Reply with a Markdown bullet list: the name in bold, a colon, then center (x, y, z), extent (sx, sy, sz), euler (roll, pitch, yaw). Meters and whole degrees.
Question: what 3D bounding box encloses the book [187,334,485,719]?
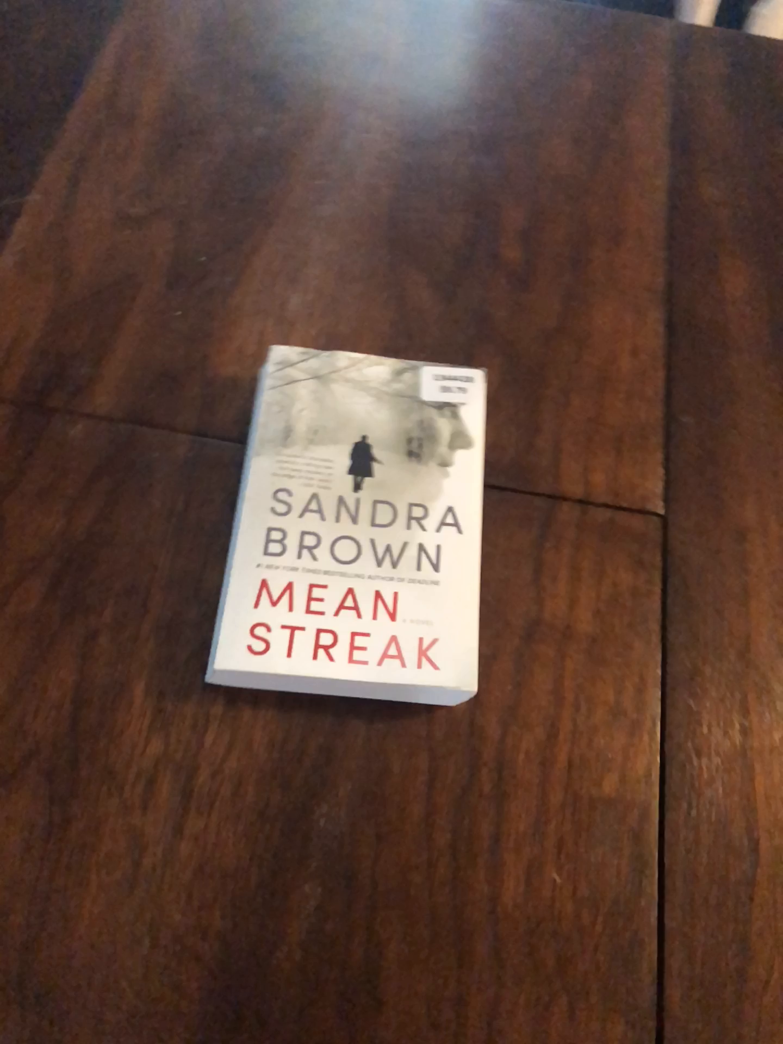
- **book**: center (-0.023, -0.005, 0.479), extent (0.137, 0.030, 0.207), euler (6, 63, -1)
